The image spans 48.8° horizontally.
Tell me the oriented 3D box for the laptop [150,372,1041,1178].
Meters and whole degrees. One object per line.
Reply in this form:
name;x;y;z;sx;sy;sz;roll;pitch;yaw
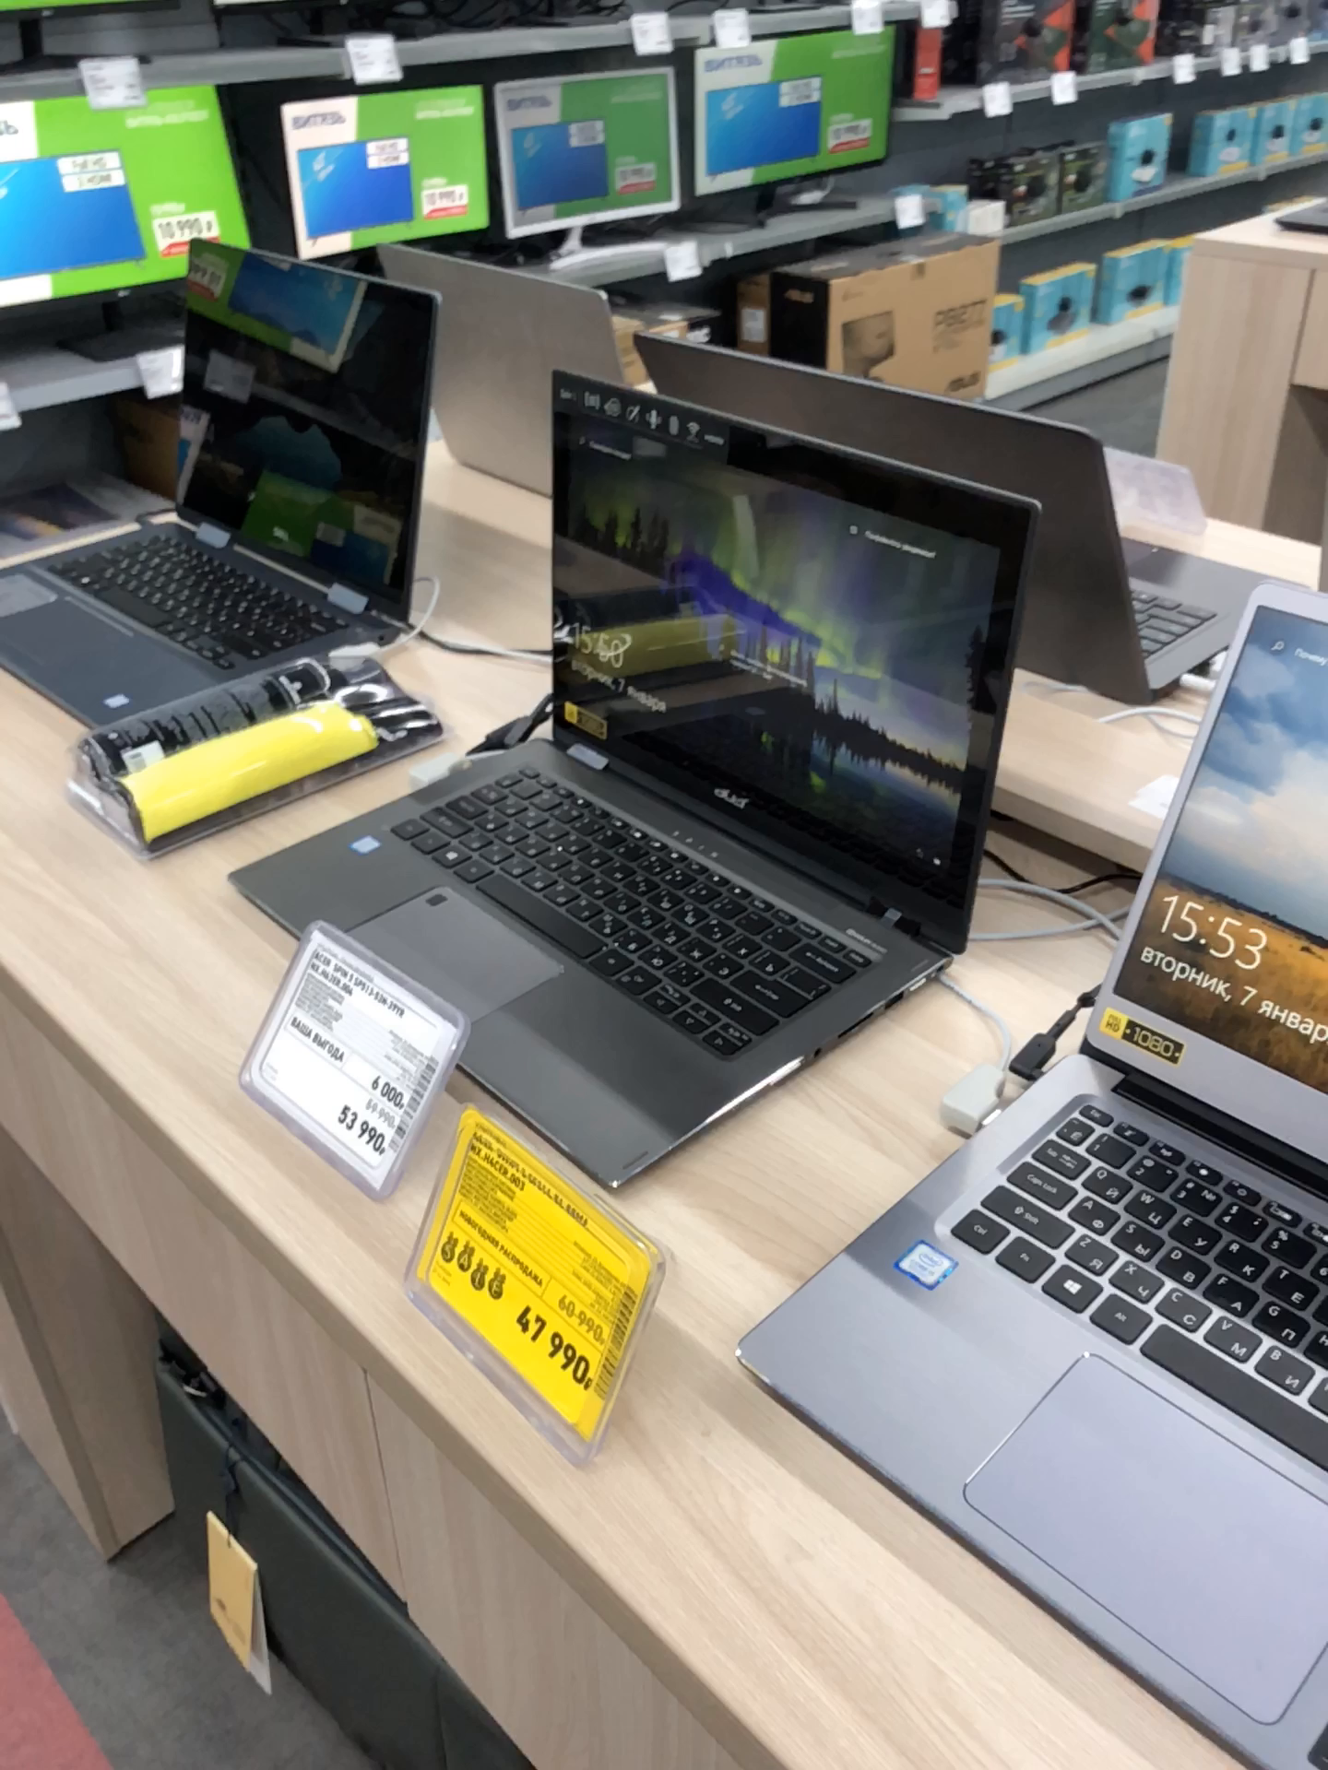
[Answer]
laptop;-0.038;-0.082;0.699;0.246;0.215;0.315;-27;41;-33

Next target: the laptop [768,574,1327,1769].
laptop;0.226;0.067;0.461;0.299;0.196;0.271;-29;40;-35

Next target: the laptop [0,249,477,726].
laptop;-0.366;-0.309;1.063;0.288;0.215;0.341;-28;40;-34
